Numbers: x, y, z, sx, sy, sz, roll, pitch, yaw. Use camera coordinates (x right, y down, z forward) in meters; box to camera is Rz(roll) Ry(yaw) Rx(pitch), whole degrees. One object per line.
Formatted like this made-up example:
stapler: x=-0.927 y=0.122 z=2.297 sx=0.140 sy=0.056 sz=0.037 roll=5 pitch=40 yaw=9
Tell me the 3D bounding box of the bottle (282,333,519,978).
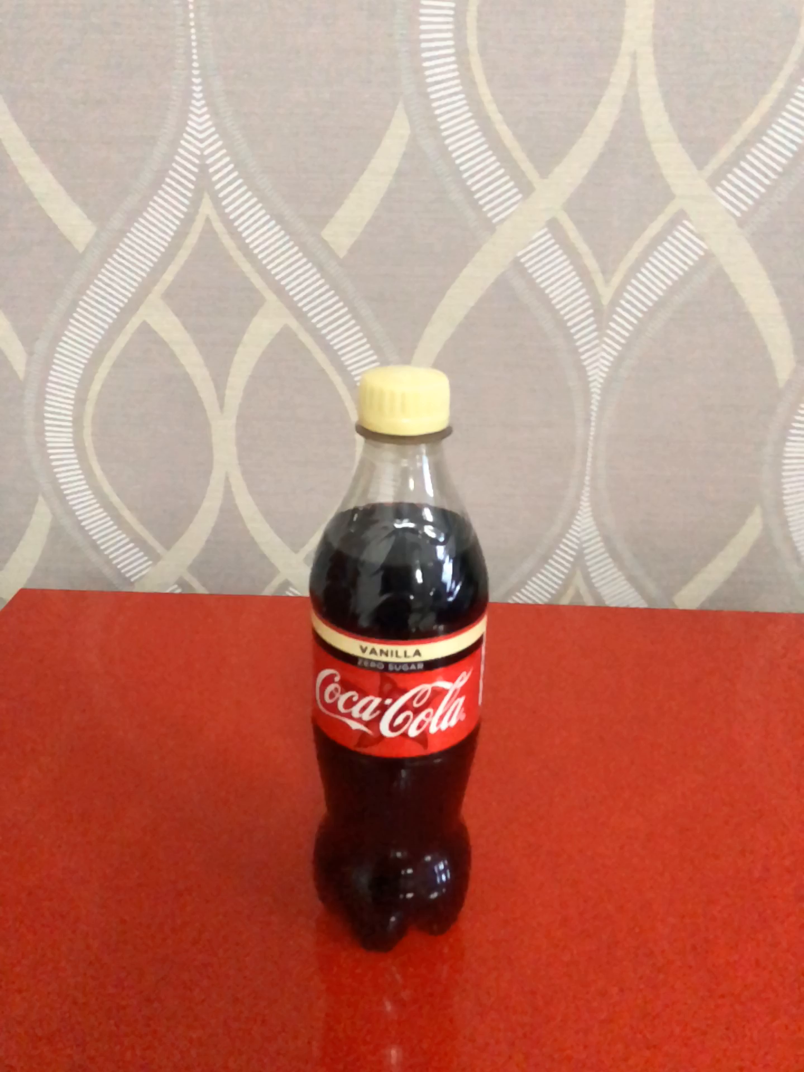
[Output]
bottle: x=0.000 y=0.050 z=0.346 sx=0.070 sy=0.238 sz=0.081 roll=3 pitch=24 yaw=4
